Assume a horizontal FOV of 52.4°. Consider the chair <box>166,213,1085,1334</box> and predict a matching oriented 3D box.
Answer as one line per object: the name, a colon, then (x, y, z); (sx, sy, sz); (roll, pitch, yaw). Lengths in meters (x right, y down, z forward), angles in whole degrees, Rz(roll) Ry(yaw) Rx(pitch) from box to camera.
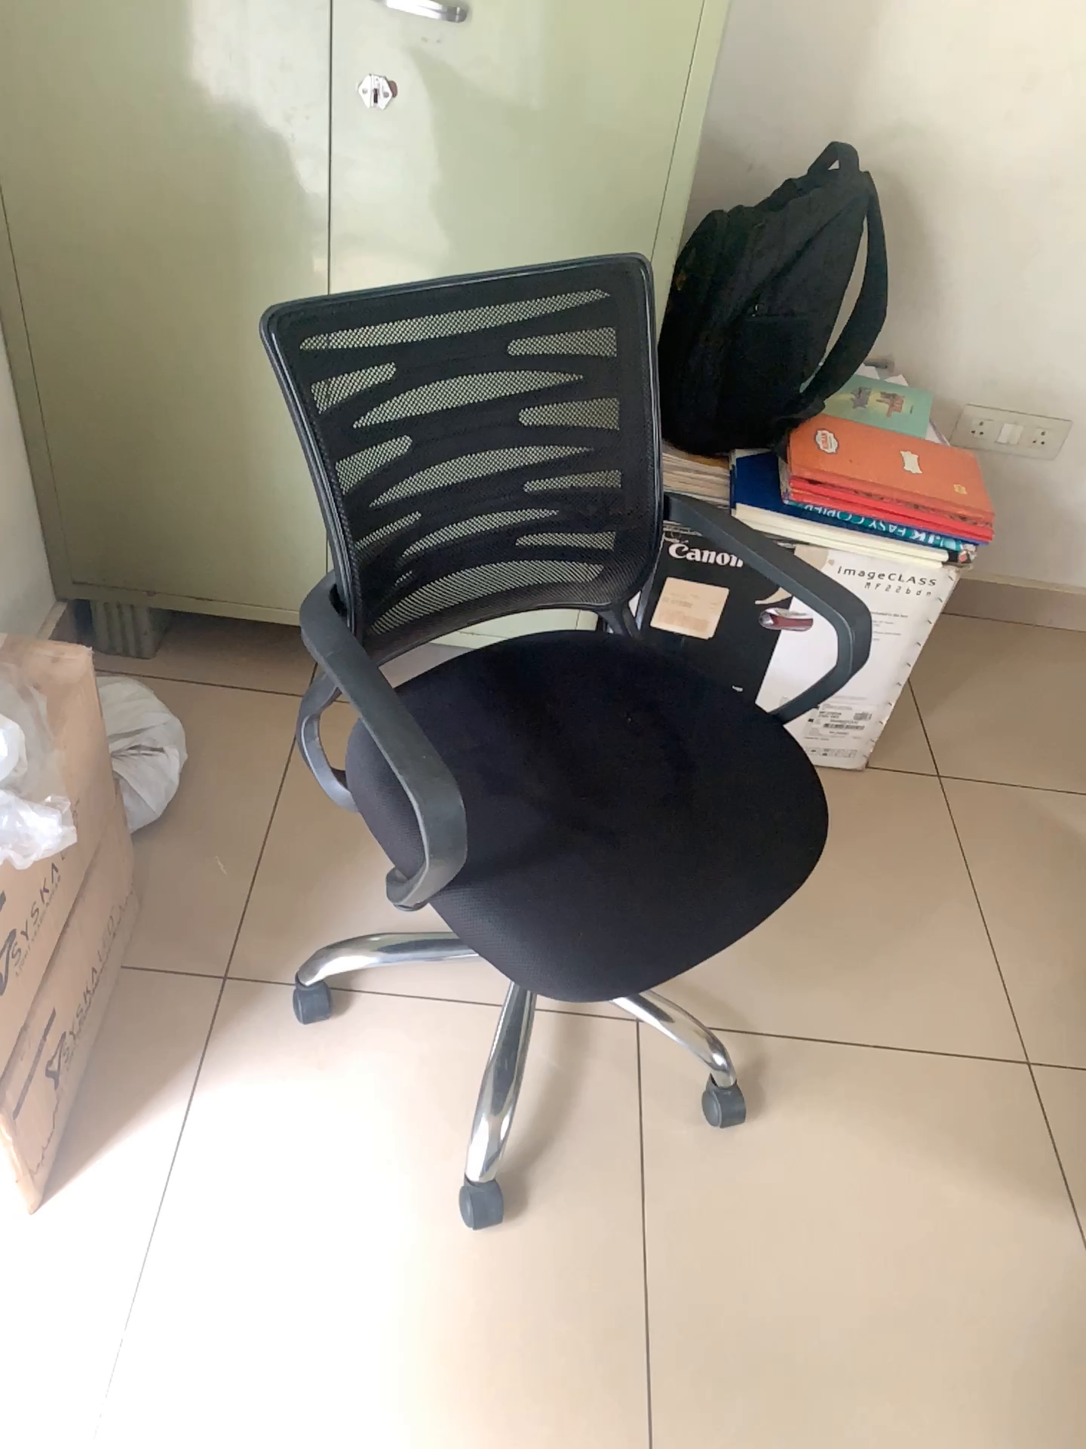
chair: (0.062, 0.052, 1.333); (0.682, 0.996, 0.651); (-26, 54, -33)
